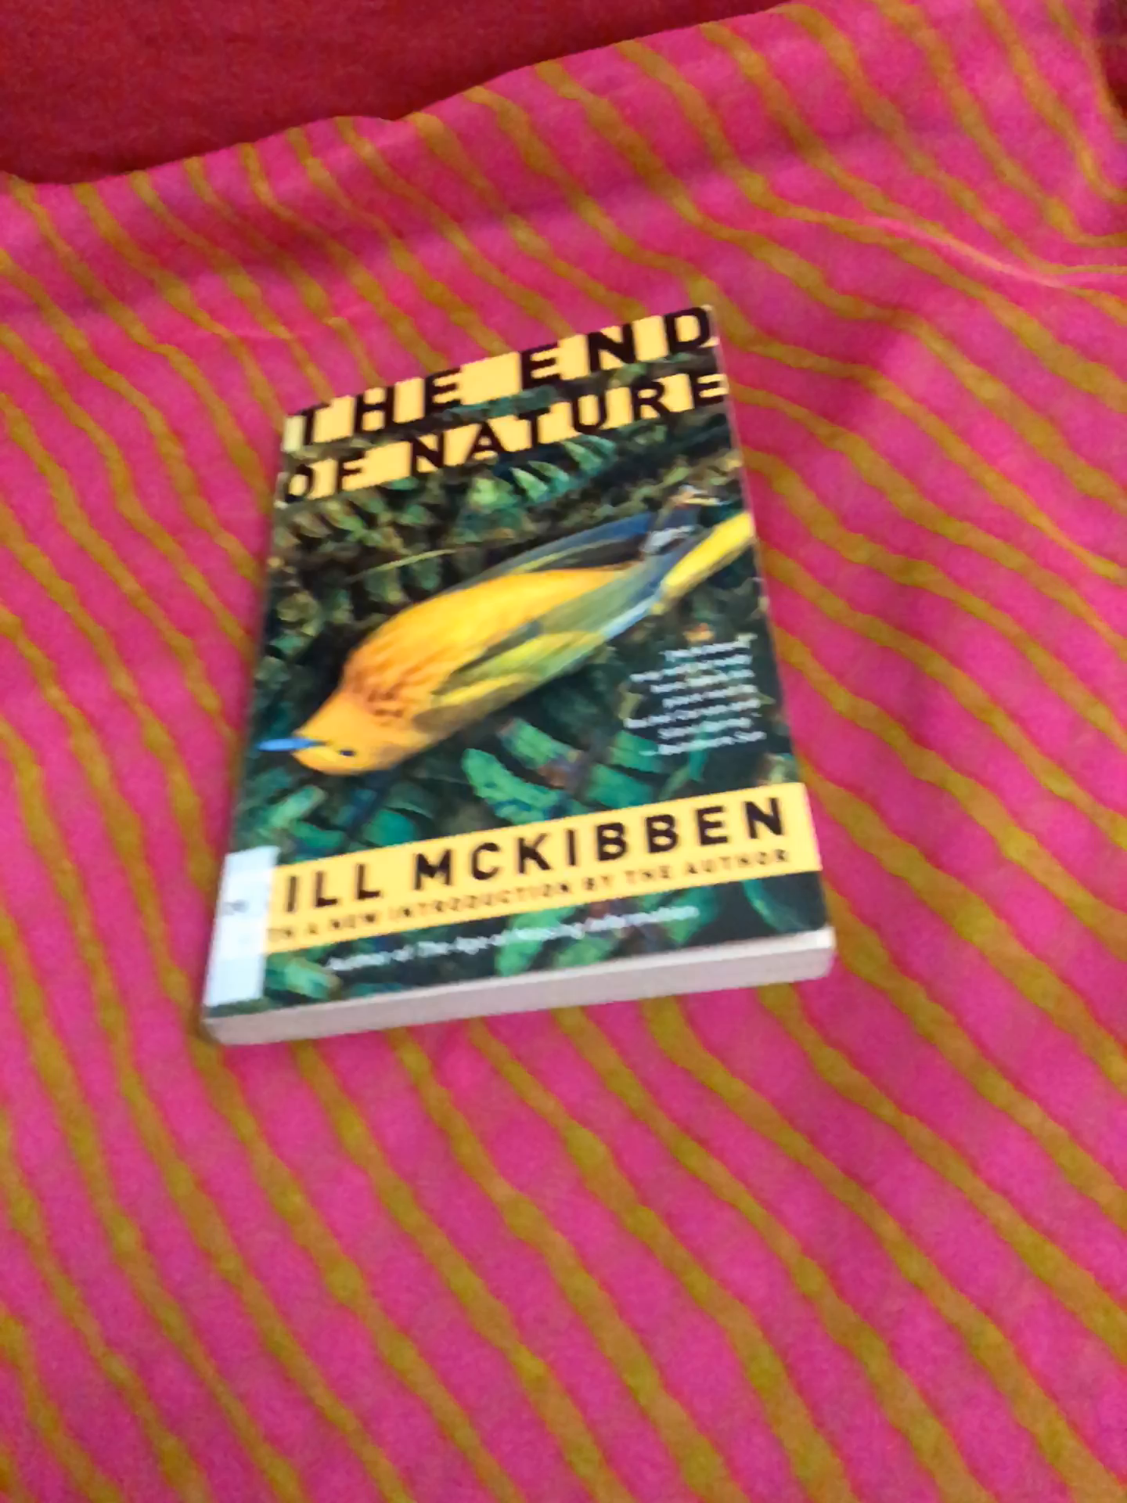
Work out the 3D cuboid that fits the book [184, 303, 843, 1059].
[{"bbox_3d":[-0.015,-0.029,0.307,0.132,0.020,0.194,-9,55,7],"label":"book"}]
